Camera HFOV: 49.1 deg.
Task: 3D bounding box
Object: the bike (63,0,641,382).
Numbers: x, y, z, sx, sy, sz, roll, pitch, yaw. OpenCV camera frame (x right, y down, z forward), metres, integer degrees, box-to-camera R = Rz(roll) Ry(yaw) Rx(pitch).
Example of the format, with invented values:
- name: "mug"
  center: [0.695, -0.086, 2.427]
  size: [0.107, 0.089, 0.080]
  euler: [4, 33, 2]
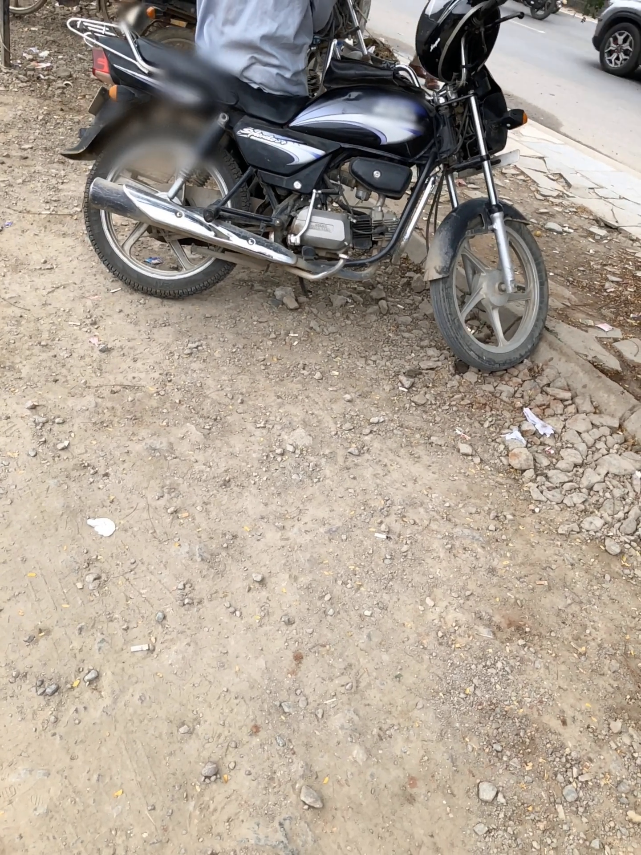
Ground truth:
- name: "bike"
  center: [0.056, -0.959, 2.458]
  size: [1.594, 1.170, 0.744]
  euler: [8, 36, -5]
